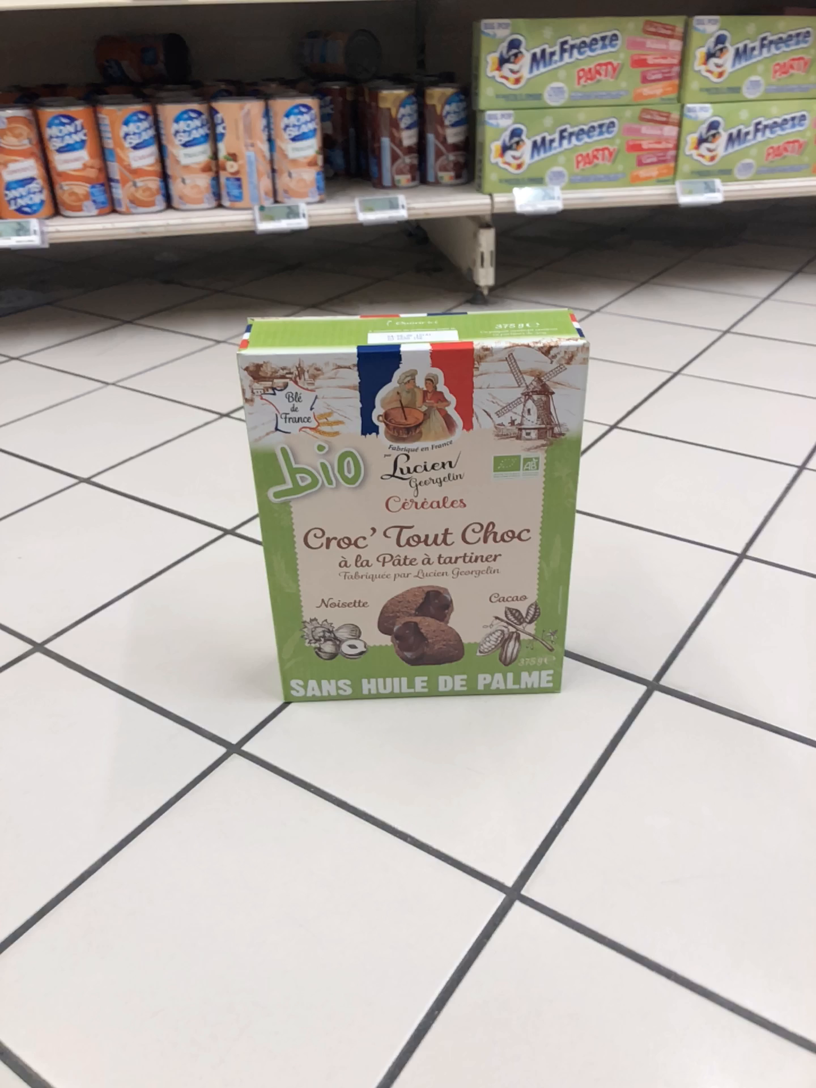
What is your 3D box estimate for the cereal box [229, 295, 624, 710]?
[{"bbox_3d":[0.012,-0.020,0.548,0.200,0.239,0.080,-1,29,1],"label":"cereal box"}]
